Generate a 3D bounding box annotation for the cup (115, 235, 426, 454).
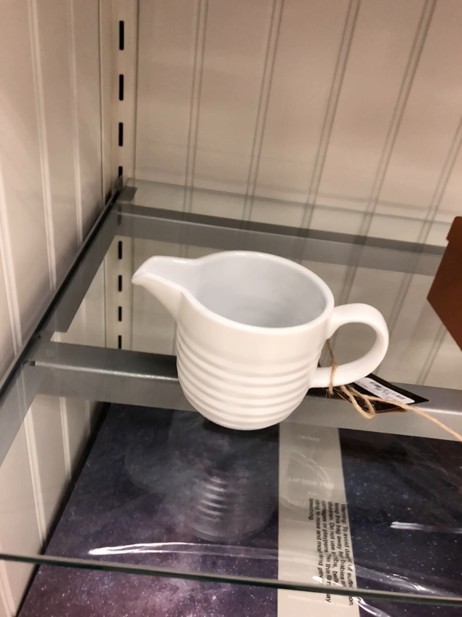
[{"bbox_3d":[0.016,0.017,0.277,0.140,0.069,0.071,9,34,0],"label":"cup"}]
